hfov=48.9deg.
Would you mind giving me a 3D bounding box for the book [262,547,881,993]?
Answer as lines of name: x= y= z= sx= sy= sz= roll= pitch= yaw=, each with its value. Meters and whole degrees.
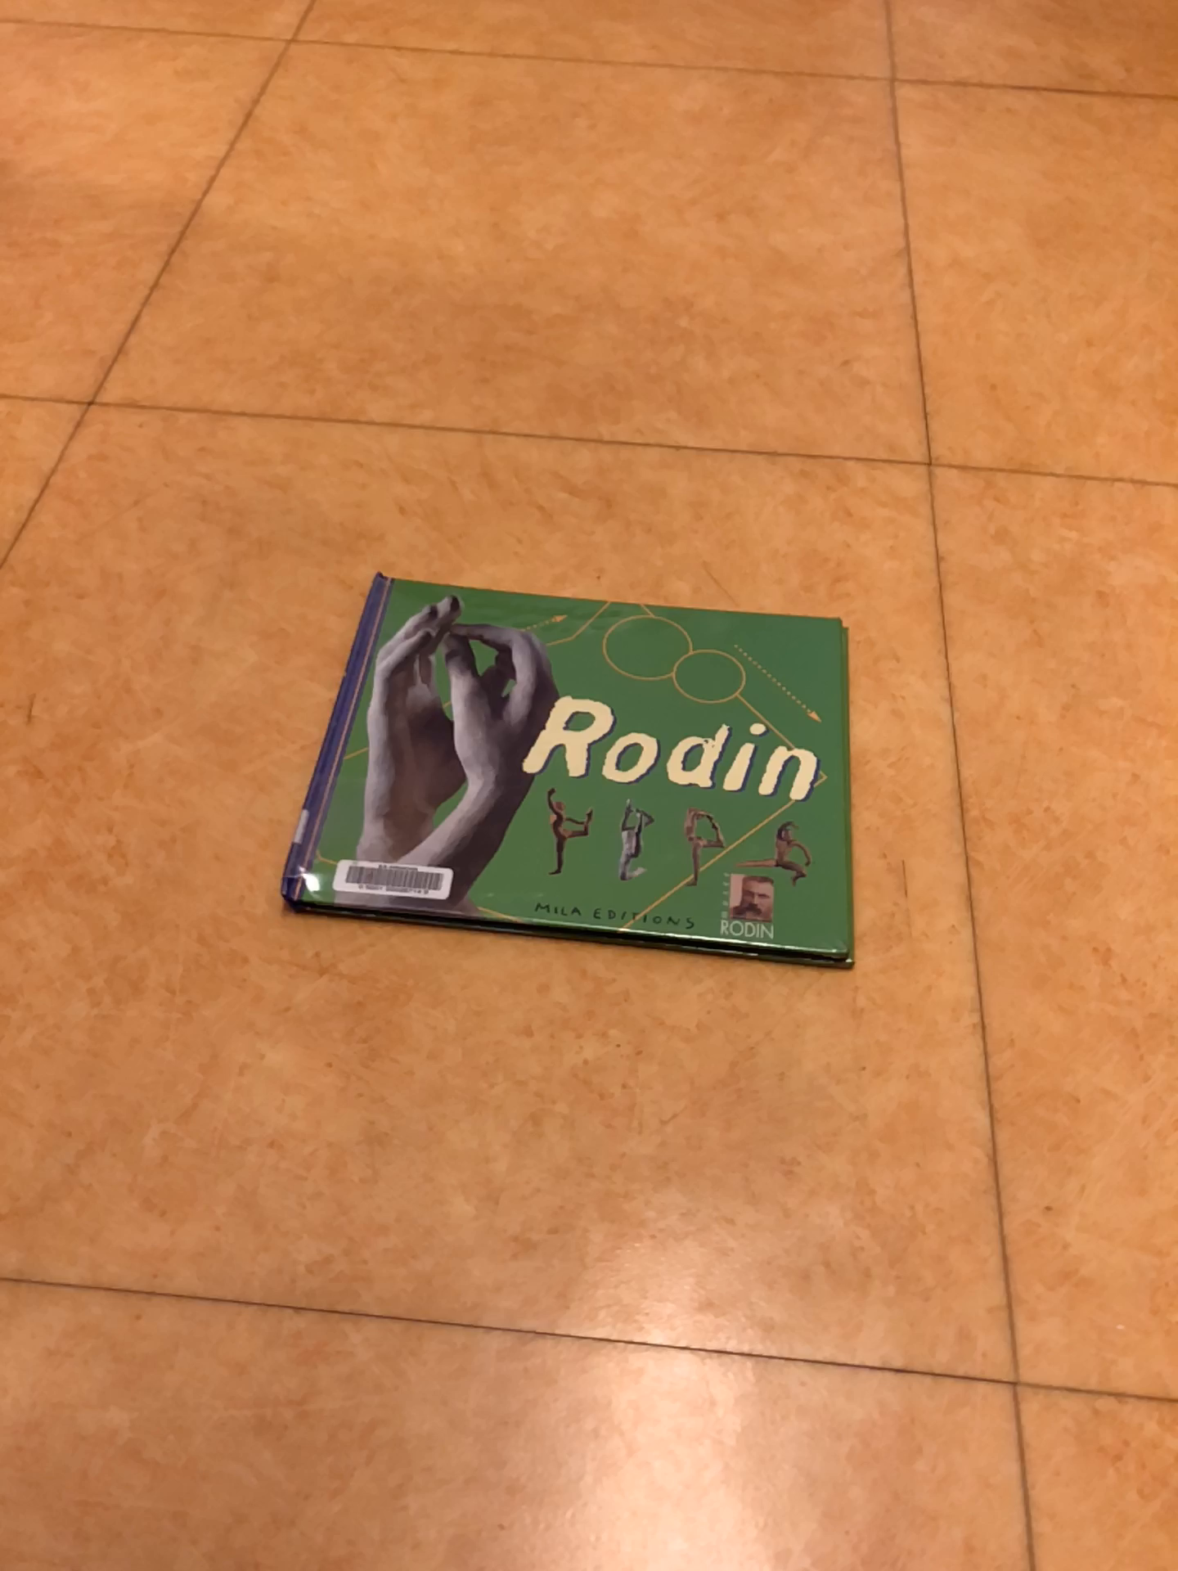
book: x=0.002 y=-0.016 z=0.579 sx=0.243 sy=0.030 sz=0.201 roll=6 pitch=52 yaw=2
